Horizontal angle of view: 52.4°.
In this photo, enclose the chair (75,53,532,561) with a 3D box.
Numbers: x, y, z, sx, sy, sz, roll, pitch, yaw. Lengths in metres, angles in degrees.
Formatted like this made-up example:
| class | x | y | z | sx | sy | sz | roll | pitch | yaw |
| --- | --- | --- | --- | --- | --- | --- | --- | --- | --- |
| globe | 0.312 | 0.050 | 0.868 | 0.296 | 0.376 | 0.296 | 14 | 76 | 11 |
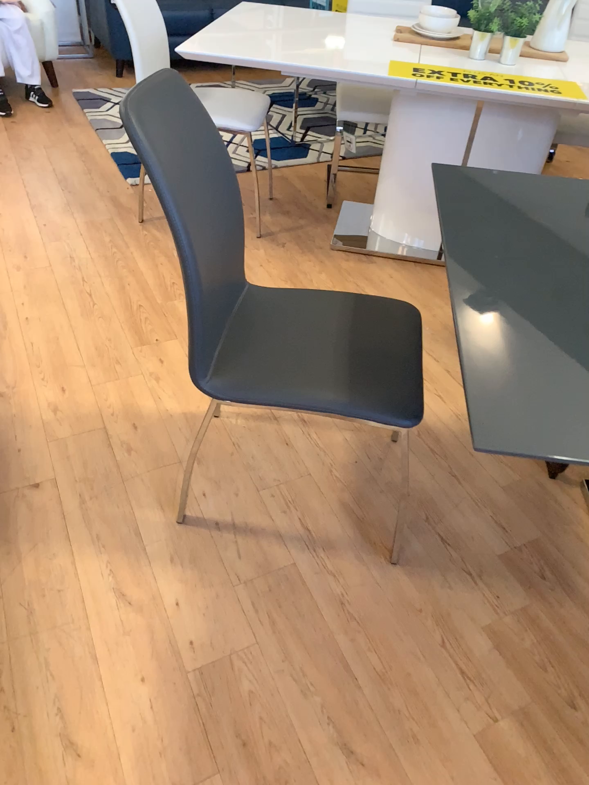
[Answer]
| class | x | y | z | sx | sy | sz | roll | pitch | yaw |
| --- | --- | --- | --- | --- | --- | --- | --- | --- | --- |
| chair | 0.008 | -0.148 | 1.303 | 0.640 | 0.891 | 0.485 | 9 | 41 | 4 |
